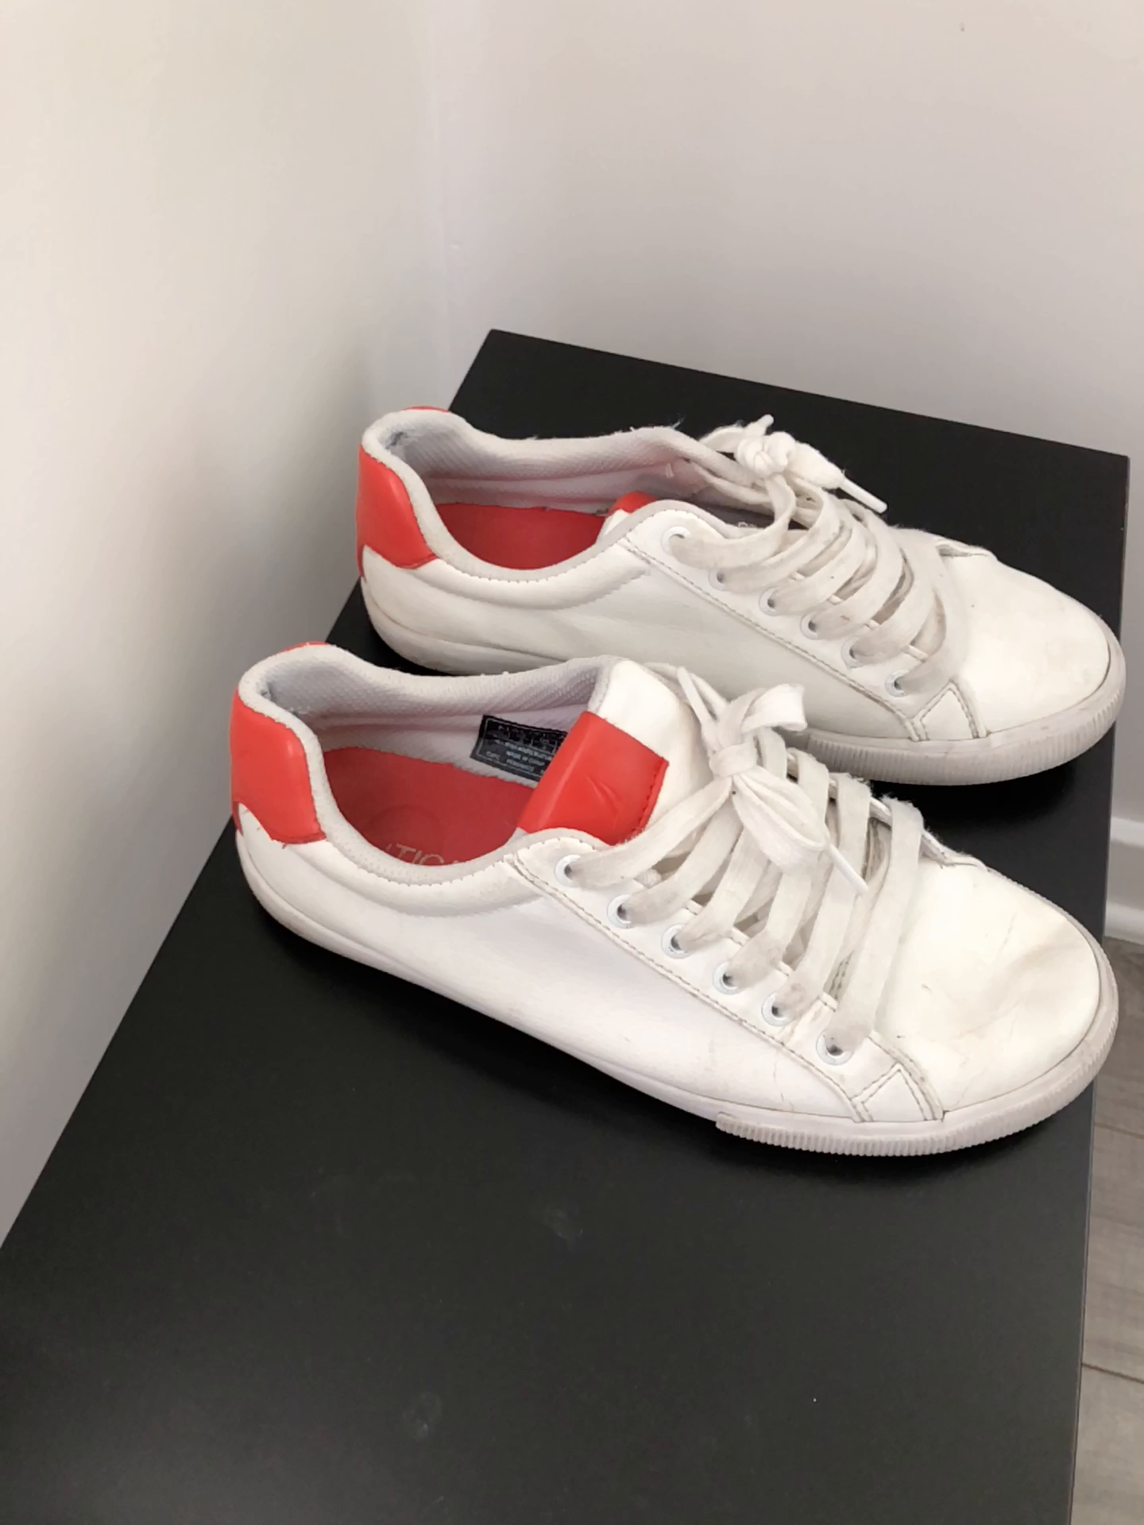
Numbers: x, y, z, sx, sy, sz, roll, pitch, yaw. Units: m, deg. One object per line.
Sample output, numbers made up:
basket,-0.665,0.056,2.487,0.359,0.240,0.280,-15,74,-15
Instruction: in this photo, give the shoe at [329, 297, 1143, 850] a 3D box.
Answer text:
shoe,0.057,-0.060,0.388,0.230,0.080,0.100,12,54,7

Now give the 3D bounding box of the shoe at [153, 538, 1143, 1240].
shoe,0.035,0.029,0.321,0.235,0.080,0.102,12,54,7
